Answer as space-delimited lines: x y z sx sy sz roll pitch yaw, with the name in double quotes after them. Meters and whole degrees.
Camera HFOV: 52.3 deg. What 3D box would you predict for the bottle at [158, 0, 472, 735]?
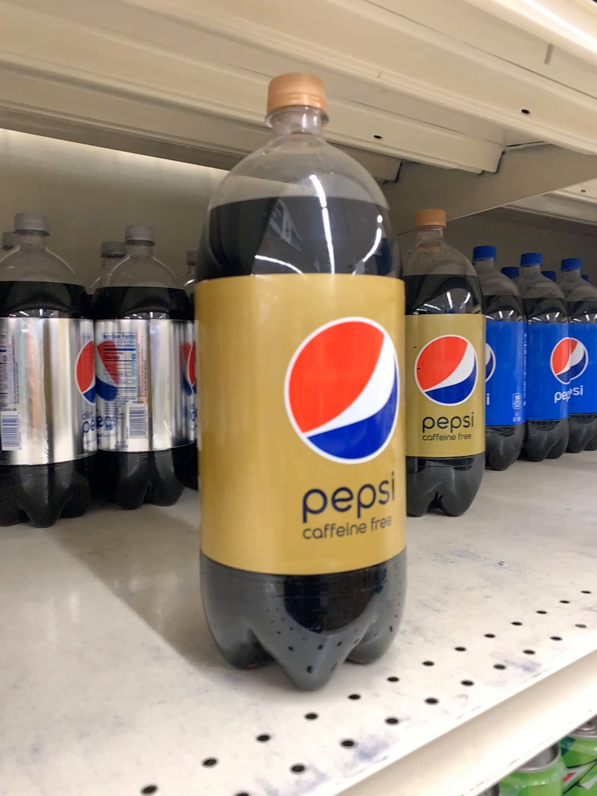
0.003 -0.024 0.303 0.110 0.300 0.110 0 4 0 "bottle"
